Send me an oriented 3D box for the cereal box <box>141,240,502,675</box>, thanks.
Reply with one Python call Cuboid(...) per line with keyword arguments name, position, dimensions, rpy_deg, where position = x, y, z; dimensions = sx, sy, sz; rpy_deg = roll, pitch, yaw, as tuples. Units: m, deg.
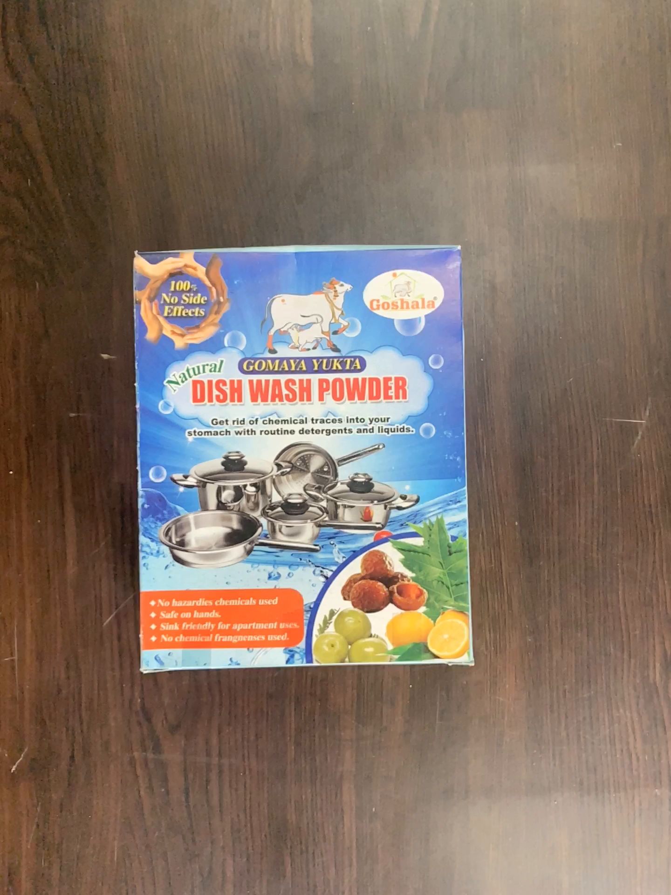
Cuboid(name="cereal box", position=(-0.006, 0.005, 0.307), dimensions=(0.140, 0.060, 0.170), rpy_deg=(-2, 87, 1))
